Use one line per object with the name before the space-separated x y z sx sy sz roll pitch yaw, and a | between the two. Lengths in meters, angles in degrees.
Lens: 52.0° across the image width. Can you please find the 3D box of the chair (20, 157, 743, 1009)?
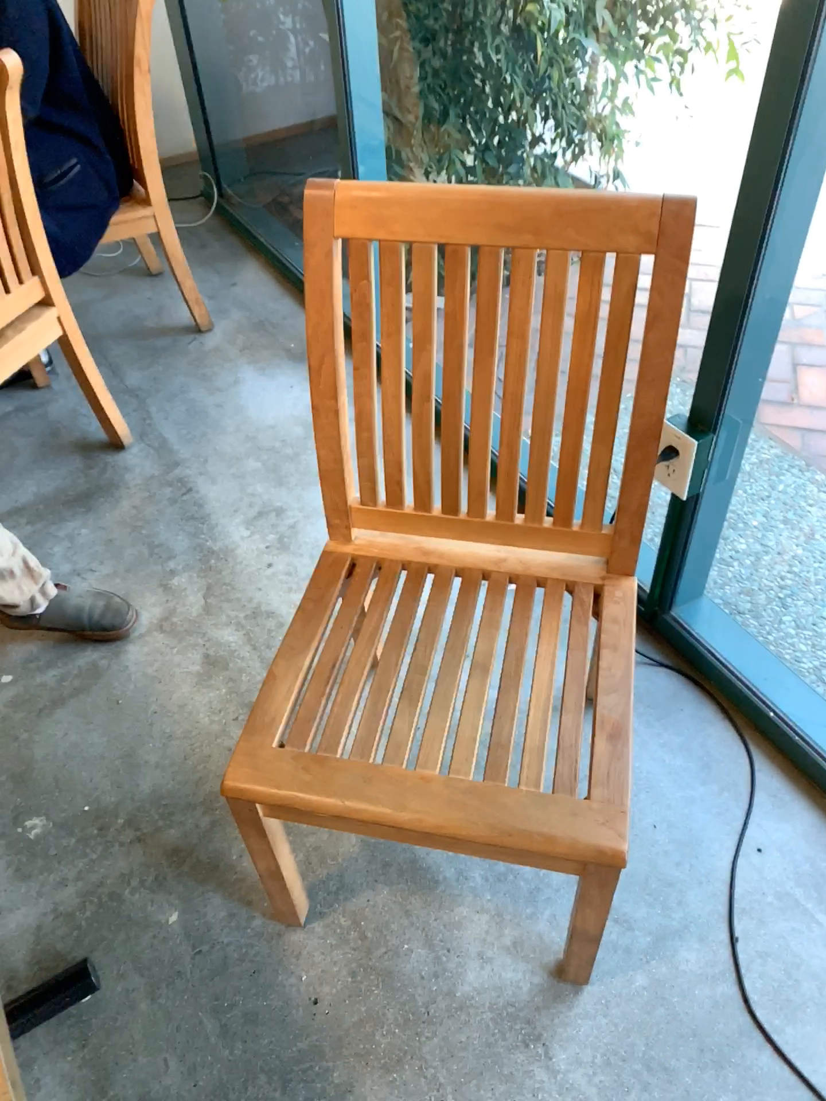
chair | 0.048 0.076 1.130 0.530 0.915 0.613 8 46 11
